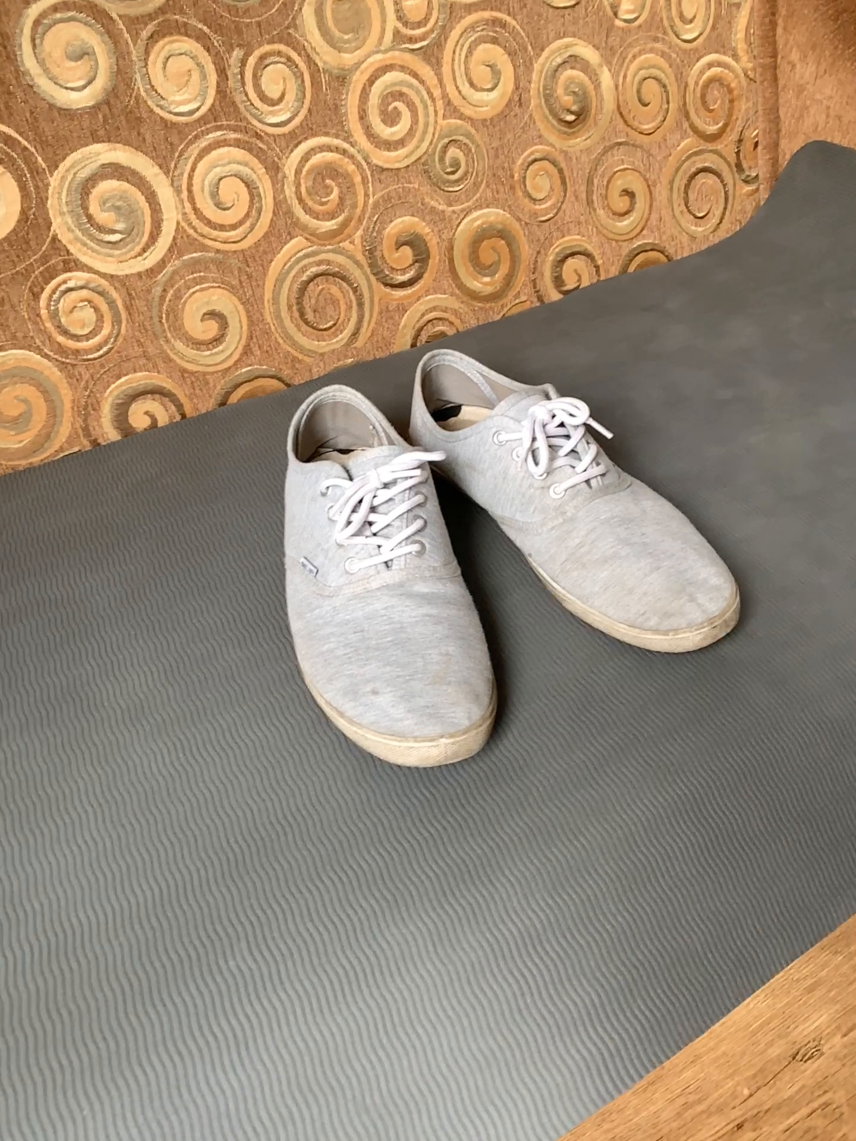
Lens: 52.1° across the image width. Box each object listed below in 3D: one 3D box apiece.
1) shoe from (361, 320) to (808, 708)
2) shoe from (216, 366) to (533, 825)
[{"bbox_3d":[0.079,-0.051,0.540,0.110,0.080,0.261,-28,50,-24],"label":"shoe"},{"bbox_3d":[-0.042,-0.005,0.493,0.110,0.080,0.261,-12,45,-11],"label":"shoe"}]
